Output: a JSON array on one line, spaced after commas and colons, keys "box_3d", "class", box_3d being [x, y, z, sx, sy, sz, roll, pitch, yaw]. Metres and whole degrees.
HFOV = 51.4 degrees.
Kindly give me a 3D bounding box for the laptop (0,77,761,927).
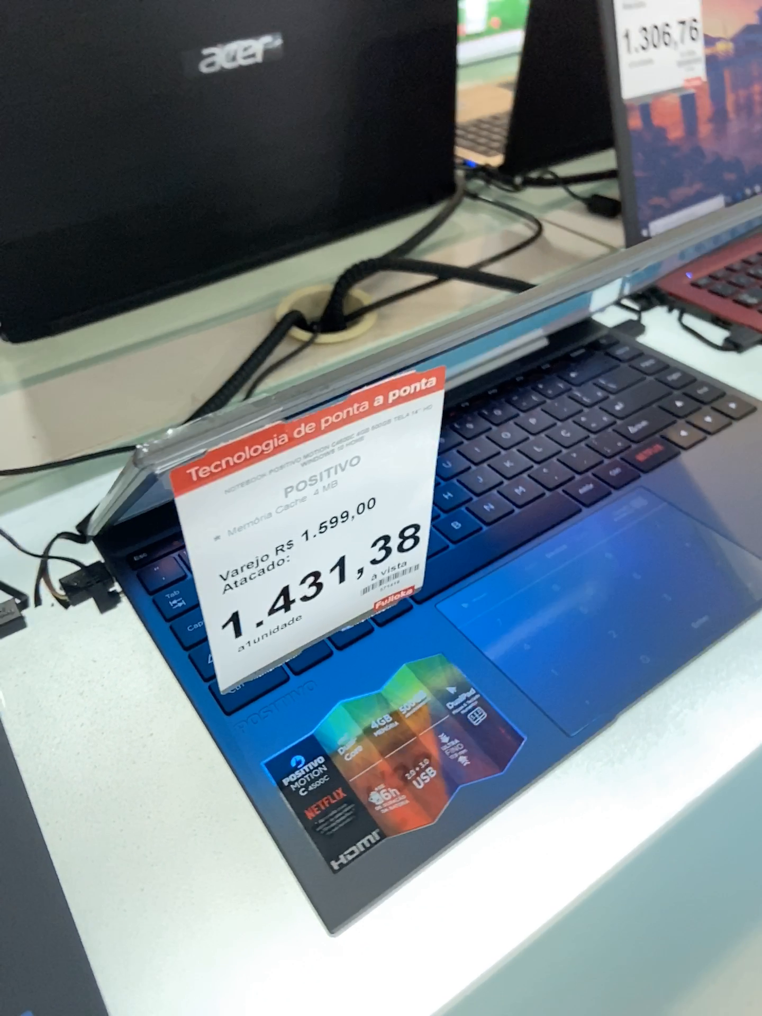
[{"box_3d": [0.055, -0.051, 0.322, 0.328, 0.139, 0.211, -26, 45, -24], "class": "laptop"}]
